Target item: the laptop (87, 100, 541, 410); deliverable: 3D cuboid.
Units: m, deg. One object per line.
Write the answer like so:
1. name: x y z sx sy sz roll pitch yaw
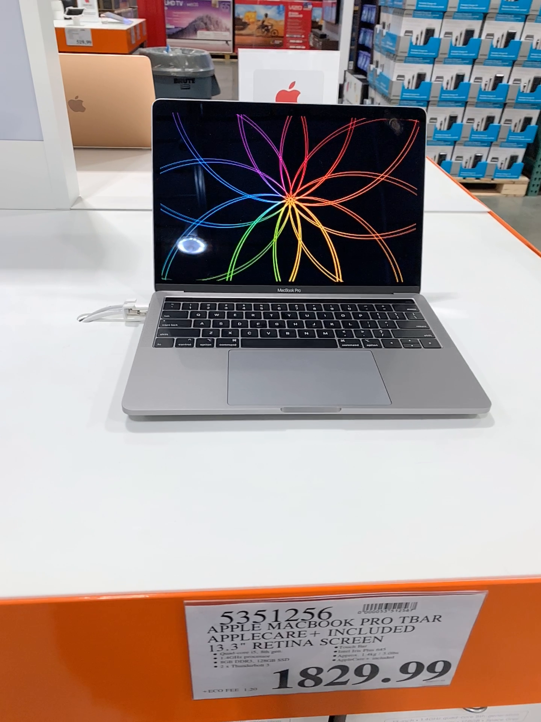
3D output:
1. laptop: 0.026 -0.120 0.510 0.289 0.165 0.308 0 34 -3
